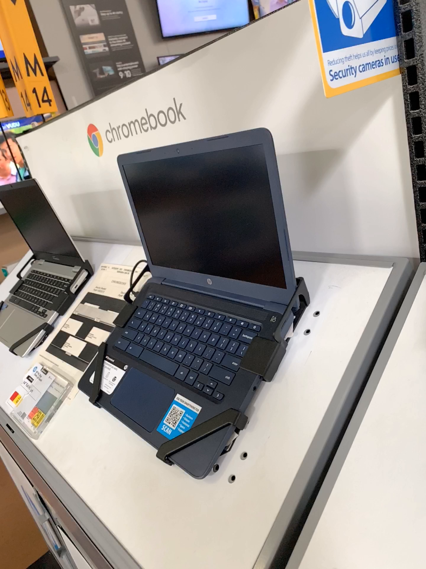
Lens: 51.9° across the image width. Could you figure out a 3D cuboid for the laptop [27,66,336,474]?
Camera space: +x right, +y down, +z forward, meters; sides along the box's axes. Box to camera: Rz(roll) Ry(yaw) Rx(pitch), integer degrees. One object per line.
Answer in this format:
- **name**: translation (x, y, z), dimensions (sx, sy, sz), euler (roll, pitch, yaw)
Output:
- **laptop**: translation (-0.058, -0.040, 0.598), dimensions (0.318, 0.189, 0.322), euler (11, 55, 50)
